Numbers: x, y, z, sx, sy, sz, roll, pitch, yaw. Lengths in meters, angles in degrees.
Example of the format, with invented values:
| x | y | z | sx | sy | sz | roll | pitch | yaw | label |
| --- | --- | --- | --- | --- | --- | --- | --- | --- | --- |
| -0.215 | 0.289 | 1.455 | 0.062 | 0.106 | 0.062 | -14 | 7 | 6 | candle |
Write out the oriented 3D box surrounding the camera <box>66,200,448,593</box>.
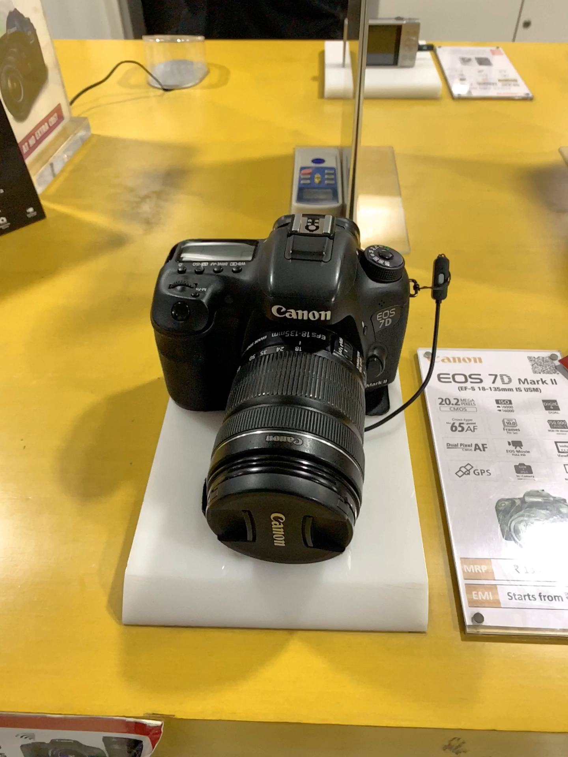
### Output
| x | y | z | sx | sy | sz | roll | pitch | yaw | label |
| --- | --- | --- | --- | --- | --- | --- | --- | --- | --- |
| -0.003 | 0.003 | 0.311 | 0.140 | 0.120 | 0.160 | 4 | 46 | 4 | camera |
